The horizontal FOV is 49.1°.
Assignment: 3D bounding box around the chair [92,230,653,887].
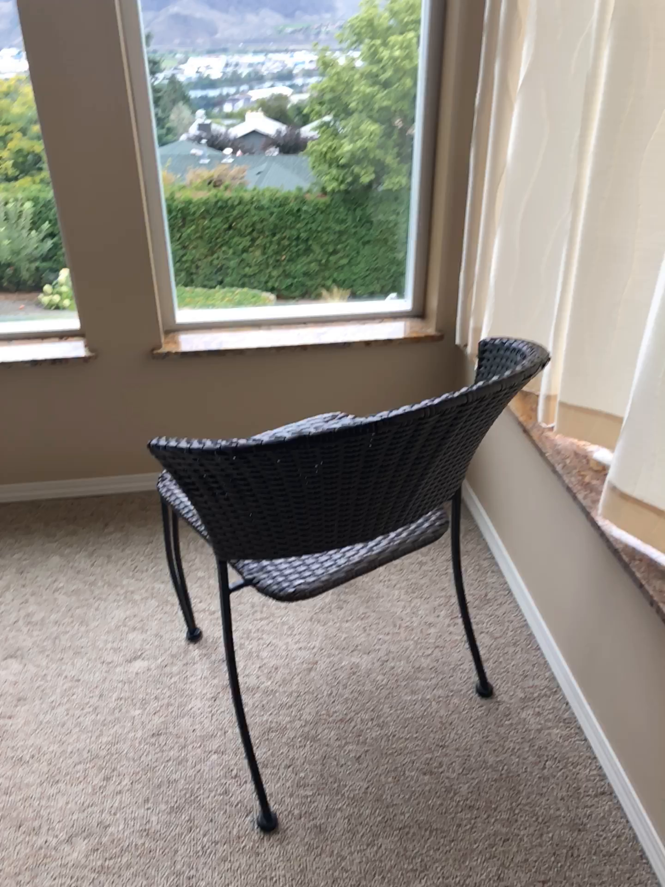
[{"bbox_3d":[0.017,0.142,1.250,0.560,0.787,0.612,-17,36,-26],"label":"chair"}]
